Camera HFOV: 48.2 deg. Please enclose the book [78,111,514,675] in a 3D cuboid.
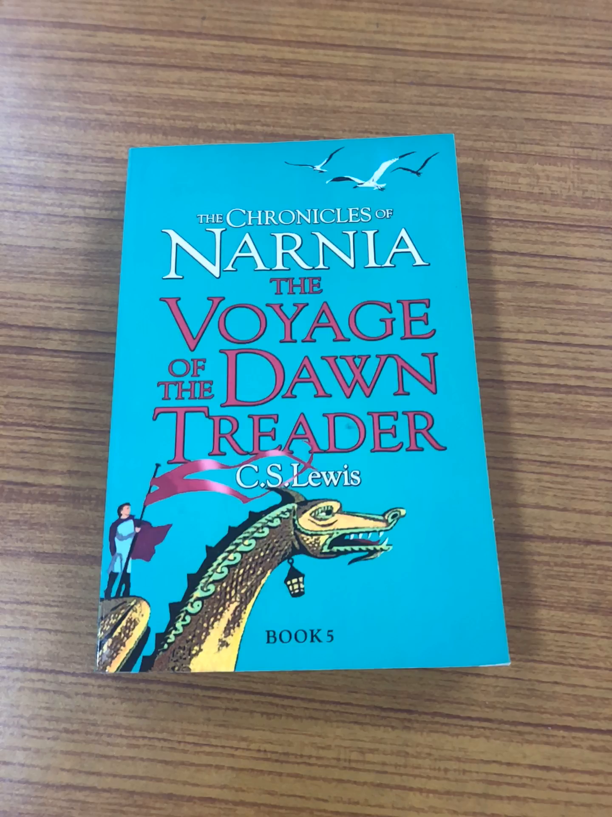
[{"bbox_3d":[-0.005,-0.013,0.248,0.130,0.030,0.200,-1,73,0],"label":"book"}]
